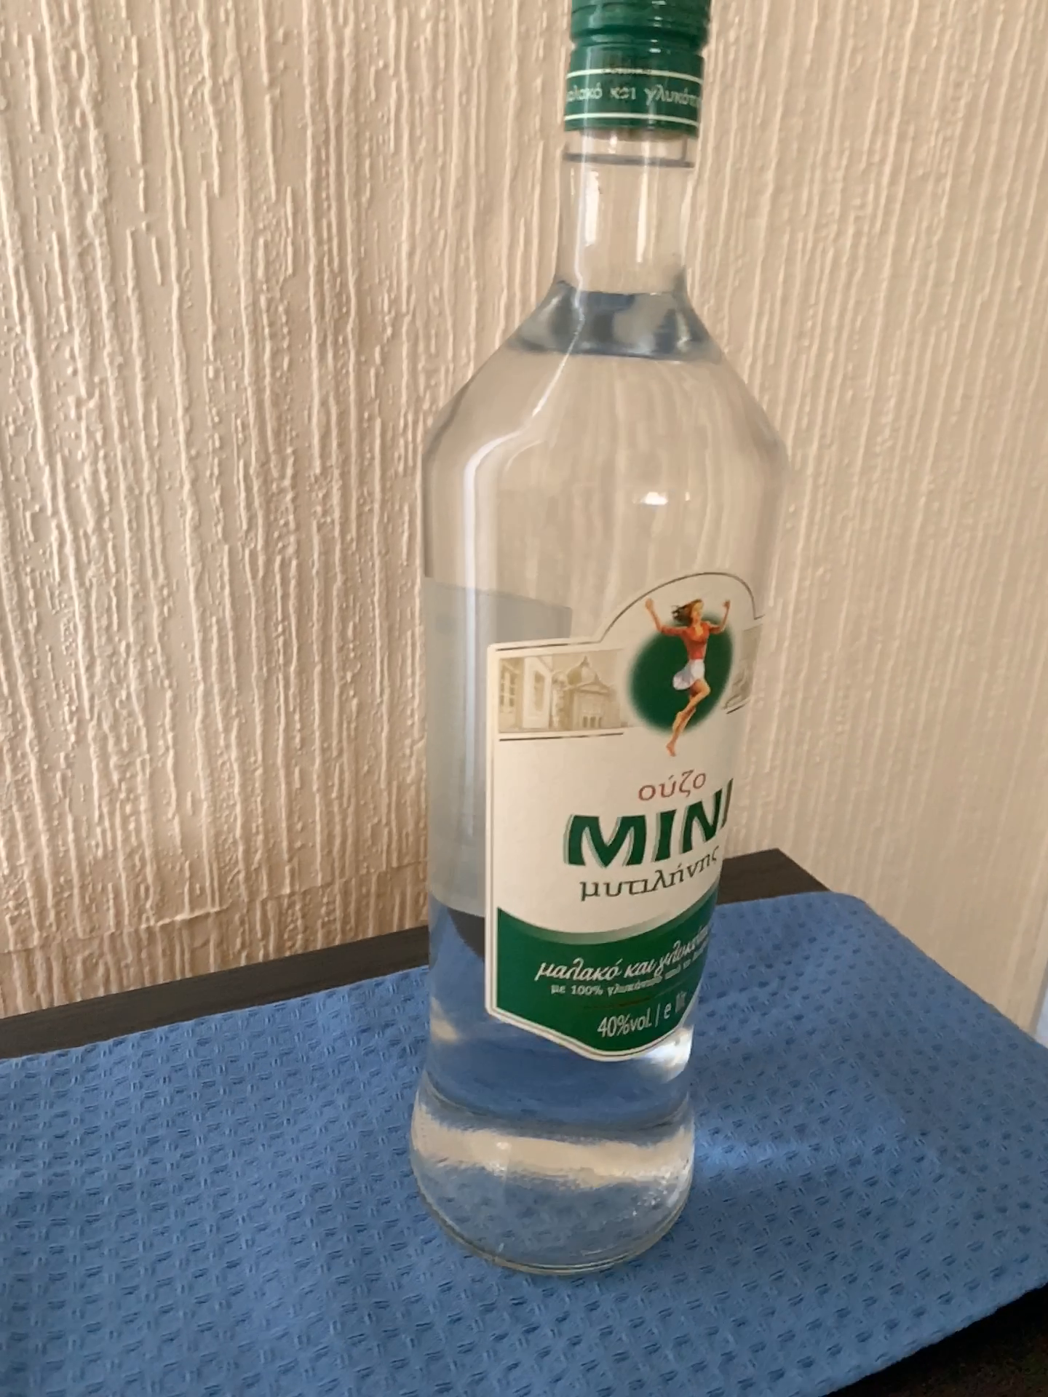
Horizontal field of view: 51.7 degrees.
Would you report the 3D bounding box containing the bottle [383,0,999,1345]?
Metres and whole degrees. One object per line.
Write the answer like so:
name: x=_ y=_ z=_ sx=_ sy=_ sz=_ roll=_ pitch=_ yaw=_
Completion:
bottle: x=0.020 y=-0.001 z=0.263 sx=0.090 sy=0.317 sz=0.070 roll=-6 pitch=24 yaw=-23
